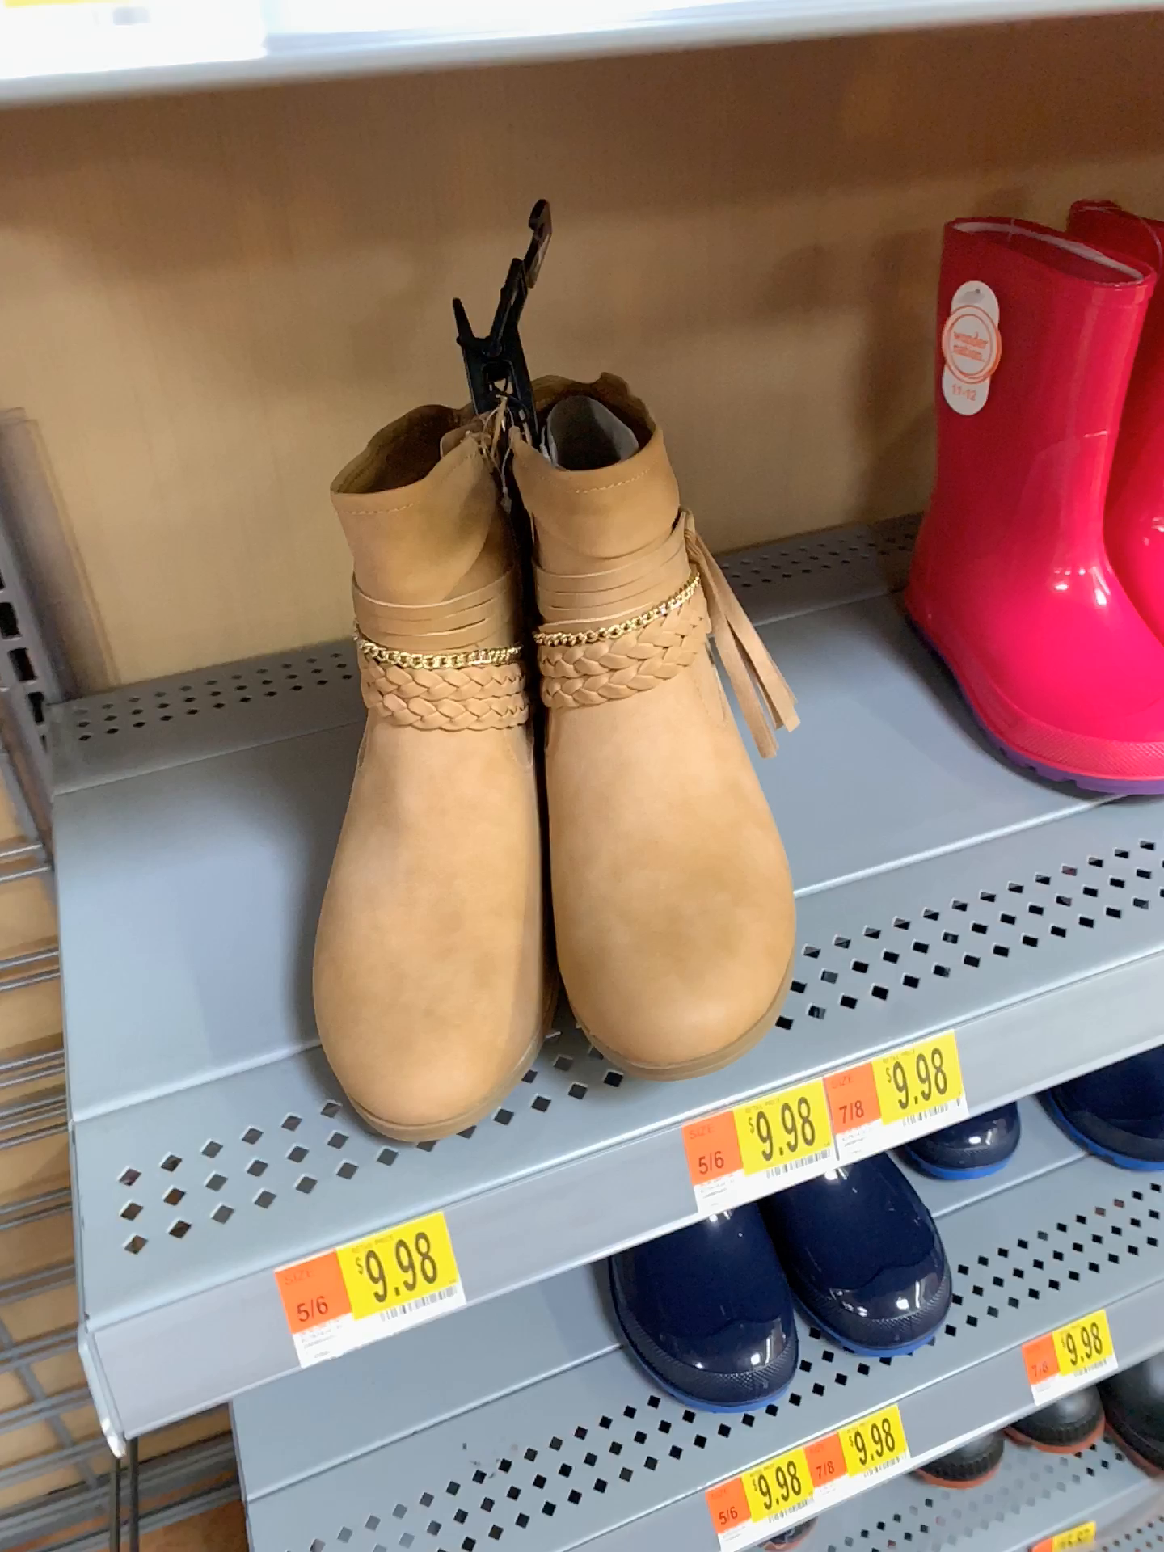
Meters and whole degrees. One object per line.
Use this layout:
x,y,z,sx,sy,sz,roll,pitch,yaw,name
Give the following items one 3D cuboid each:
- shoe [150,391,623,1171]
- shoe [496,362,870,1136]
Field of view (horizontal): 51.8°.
-0.040,-0.012,0.405,0.088,0.161,0.218,2,37,6,shoe
0.019,-0.026,0.418,0.082,0.154,0.239,-4,37,-2,shoe
